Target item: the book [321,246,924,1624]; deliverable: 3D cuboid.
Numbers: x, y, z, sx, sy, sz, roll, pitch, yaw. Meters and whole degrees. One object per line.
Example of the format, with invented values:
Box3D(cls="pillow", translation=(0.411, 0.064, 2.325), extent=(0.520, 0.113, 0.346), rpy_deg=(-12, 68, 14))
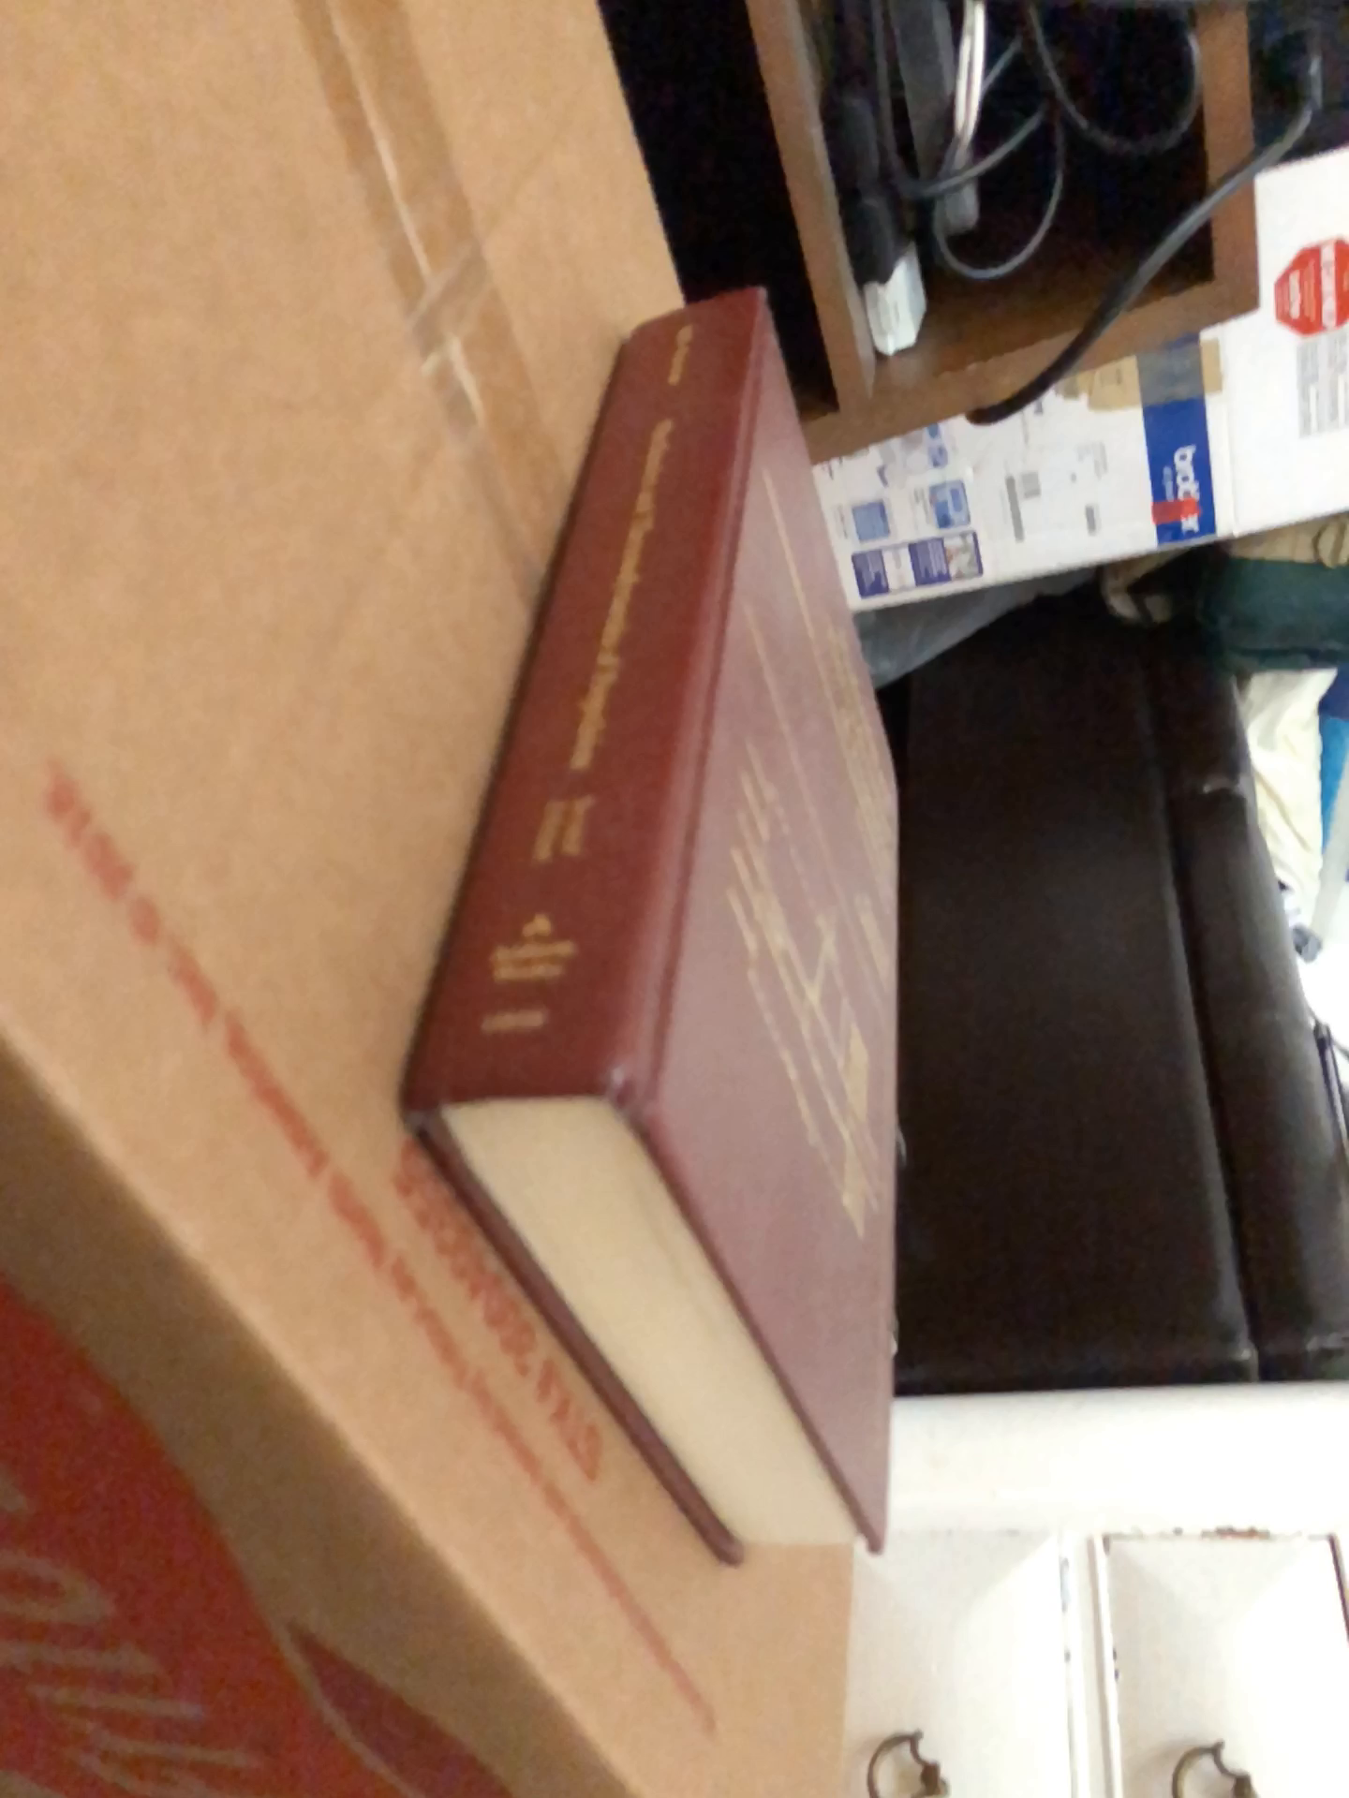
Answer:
Box3D(cls="book", translation=(0.016, 0.001, 0.330), extent=(0.241, 0.040, 0.190), rpy_deg=(-81, 156, -44))
